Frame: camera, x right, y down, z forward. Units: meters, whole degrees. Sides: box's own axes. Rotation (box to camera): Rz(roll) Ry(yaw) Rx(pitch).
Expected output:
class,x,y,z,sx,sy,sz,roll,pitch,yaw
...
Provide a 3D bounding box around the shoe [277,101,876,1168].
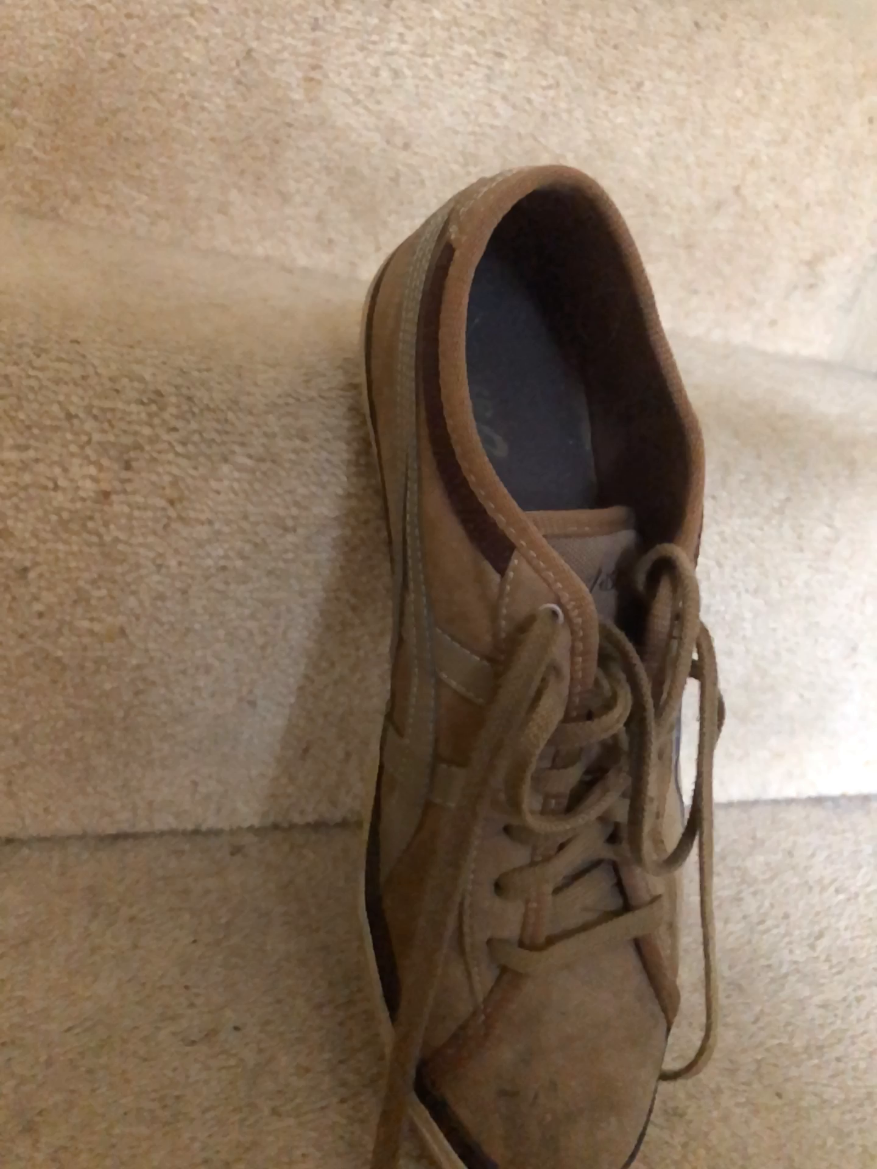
class,x,y,z,sx,sy,sz,roll,pitch,yaw
shoe,0.030,0.038,0.282,0.110,0.301,0.119,-2,-14,-20
